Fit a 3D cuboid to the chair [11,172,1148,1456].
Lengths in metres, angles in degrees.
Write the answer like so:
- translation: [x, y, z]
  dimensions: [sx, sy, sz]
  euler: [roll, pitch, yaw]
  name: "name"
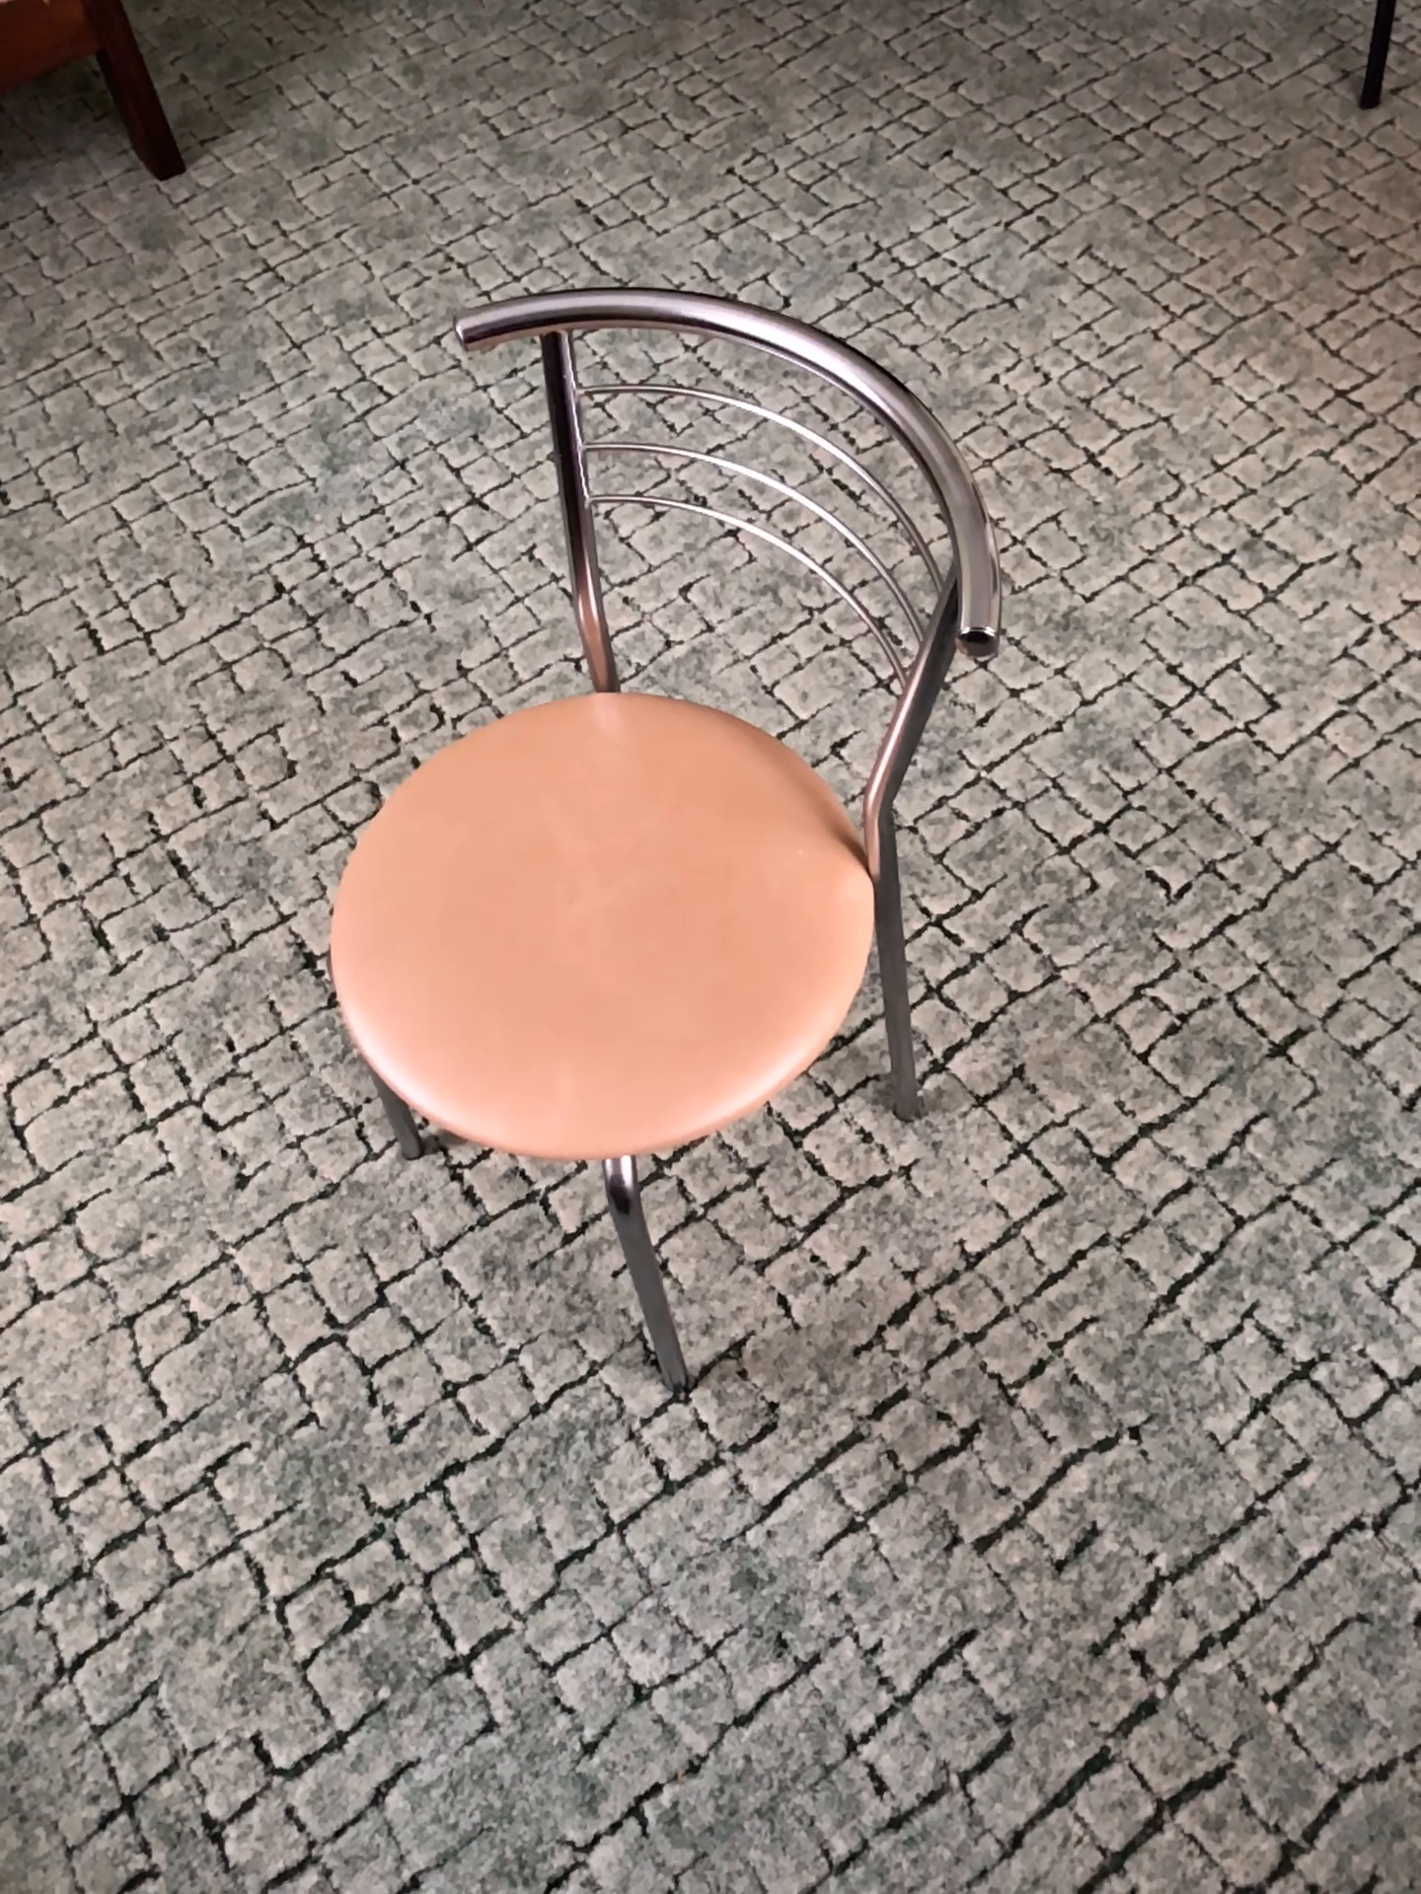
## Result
- translation: [-0.050, -0.032, 1.202]
  dimensions: [0.444, 0.804, 0.451]
  euler: [36, 67, 23]
  name: "chair"
